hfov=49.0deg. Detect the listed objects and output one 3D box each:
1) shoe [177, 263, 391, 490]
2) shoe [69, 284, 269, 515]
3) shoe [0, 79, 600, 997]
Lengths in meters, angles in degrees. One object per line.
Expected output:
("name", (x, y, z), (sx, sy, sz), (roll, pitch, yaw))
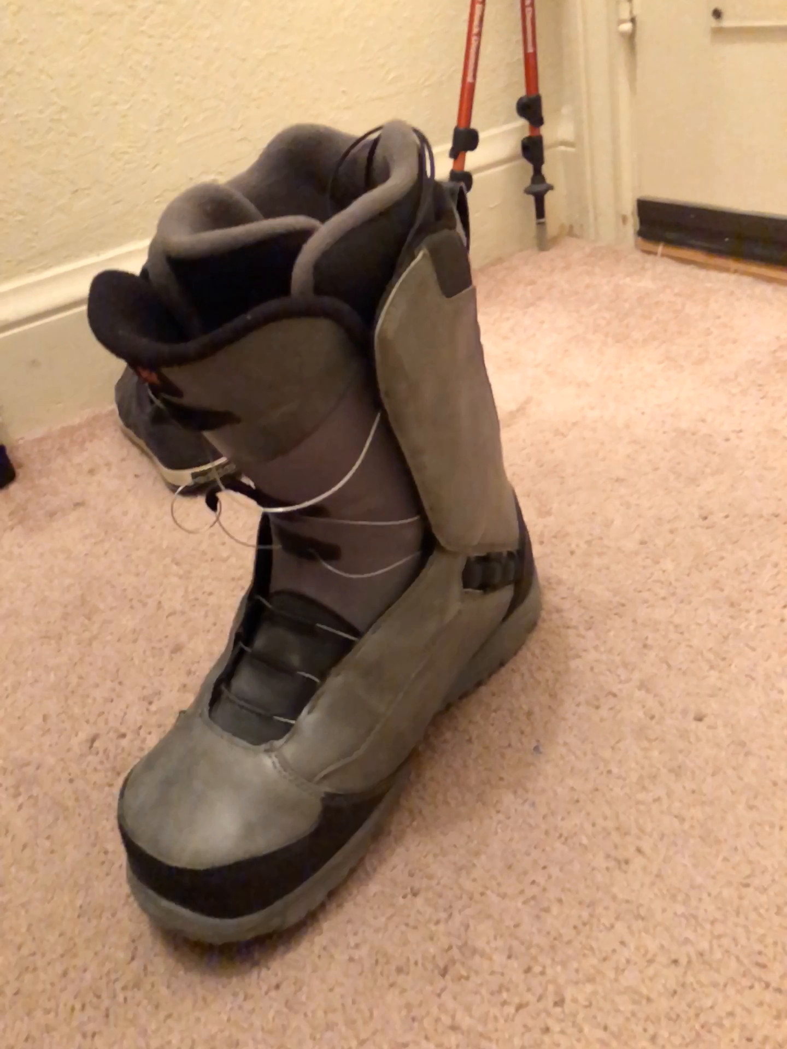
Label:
("shoe", (-0.121, -0.164, 0.875), (0.107, 0.117, 0.304), (-19, 33, -17))
("shoe", (-0.218, -0.129, 0.804), (0.087, 0.107, 0.284), (-24, 35, -16))
("shoe", (-0.048, -0.012, 0.393), (0.137, 0.282, 0.274), (20, 45, 40))
